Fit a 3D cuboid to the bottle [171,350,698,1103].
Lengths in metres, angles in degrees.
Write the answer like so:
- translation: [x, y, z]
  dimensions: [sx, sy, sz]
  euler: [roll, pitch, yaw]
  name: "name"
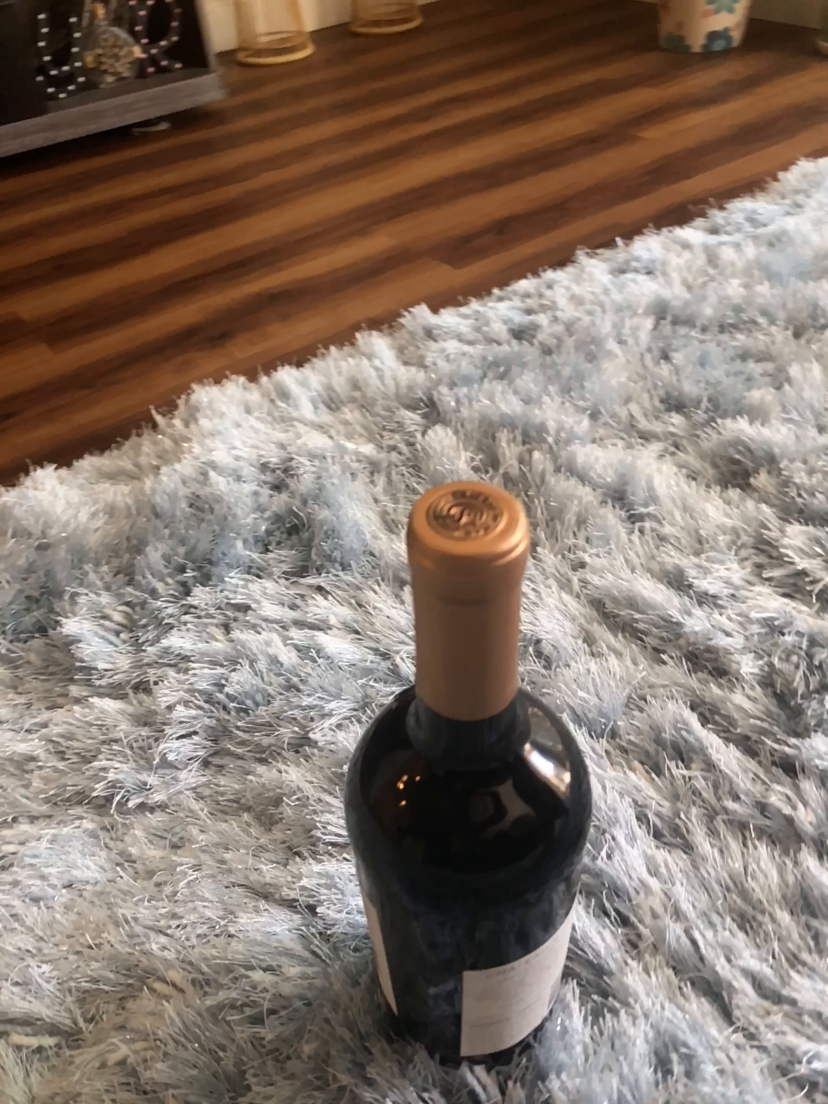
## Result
- translation: [0.017, 0.095, 0.316]
  dimensions: [0.090, 0.299, 0.090]
  euler: [-4, 40, 3]
  name: "bottle"
